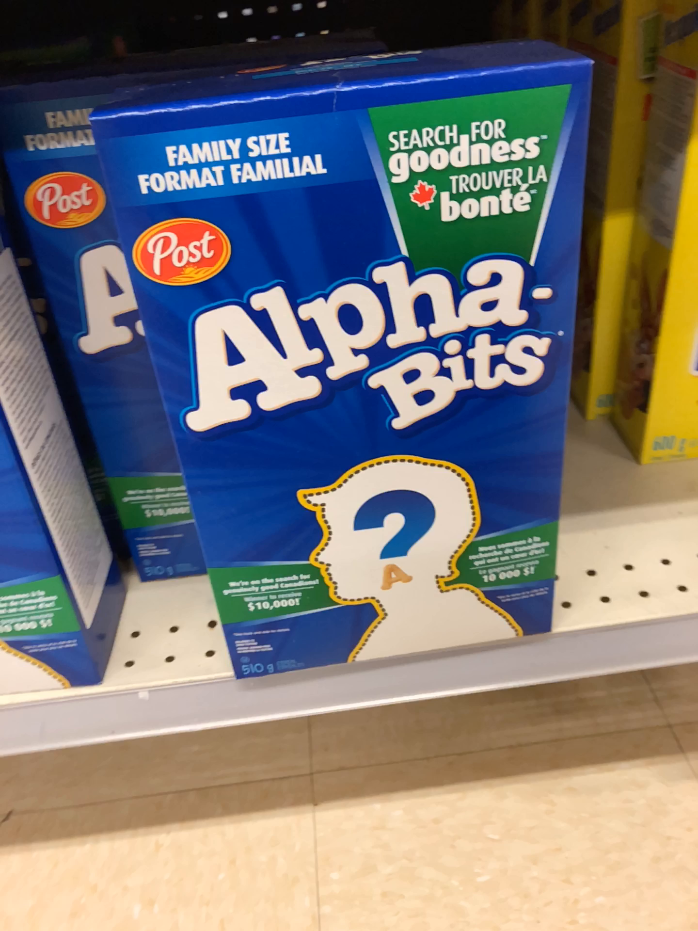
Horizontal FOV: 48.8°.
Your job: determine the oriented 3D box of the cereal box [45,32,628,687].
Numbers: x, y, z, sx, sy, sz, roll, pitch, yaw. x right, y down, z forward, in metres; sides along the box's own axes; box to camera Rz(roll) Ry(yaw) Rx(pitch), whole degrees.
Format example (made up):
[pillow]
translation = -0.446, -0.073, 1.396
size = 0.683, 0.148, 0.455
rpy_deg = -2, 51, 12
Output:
[cereal box]
translation = 0.006, -0.035, 0.390
size = 0.210, 0.298, 0.081
rpy_deg = -8, 34, -2
